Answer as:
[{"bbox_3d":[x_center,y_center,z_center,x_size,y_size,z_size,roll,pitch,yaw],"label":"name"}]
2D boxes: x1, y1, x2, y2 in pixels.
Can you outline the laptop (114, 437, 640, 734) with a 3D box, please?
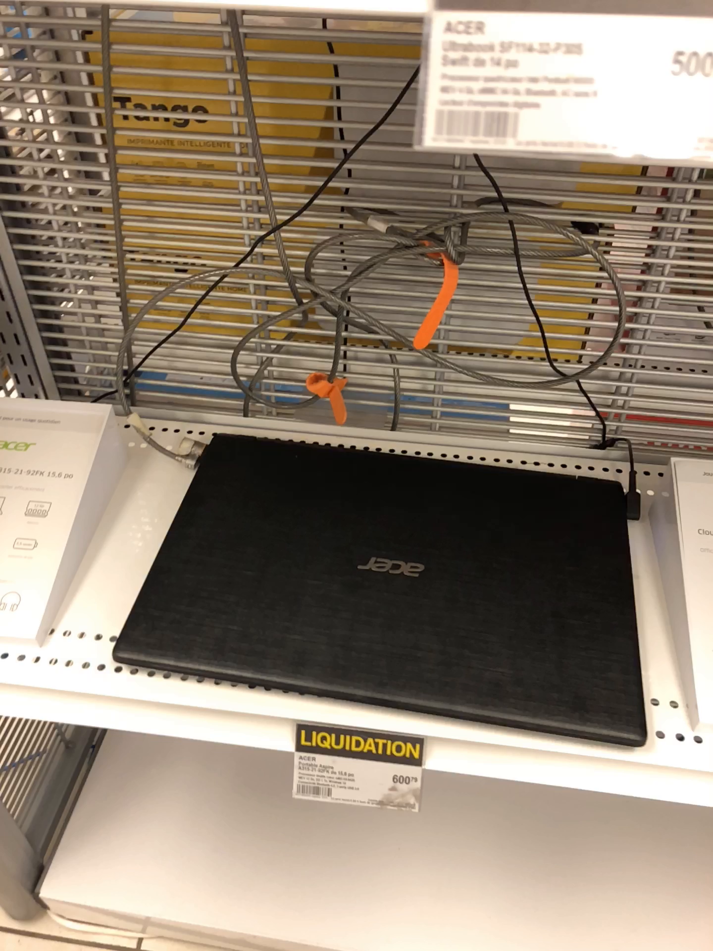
[{"bbox_3d":[0.031,0.069,0.641,0.374,0.003,0.248,7,43,7],"label":"laptop"}]
